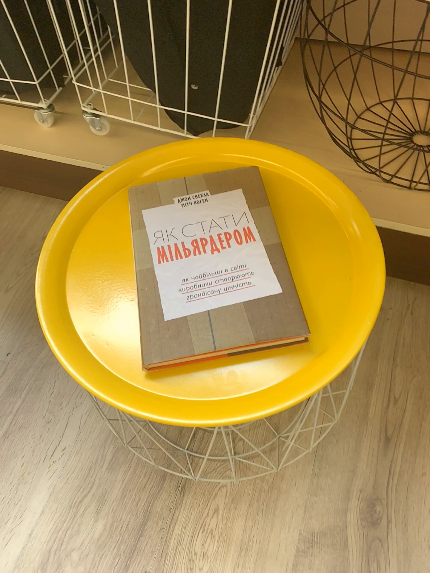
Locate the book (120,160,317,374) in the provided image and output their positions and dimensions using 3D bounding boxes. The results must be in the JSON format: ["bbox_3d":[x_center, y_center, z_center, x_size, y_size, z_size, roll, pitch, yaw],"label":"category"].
[{"bbox_3d":[-0.009,-0.036,0.477,0.170,0.020,0.236,-11,58,-2],"label":"book"}]
